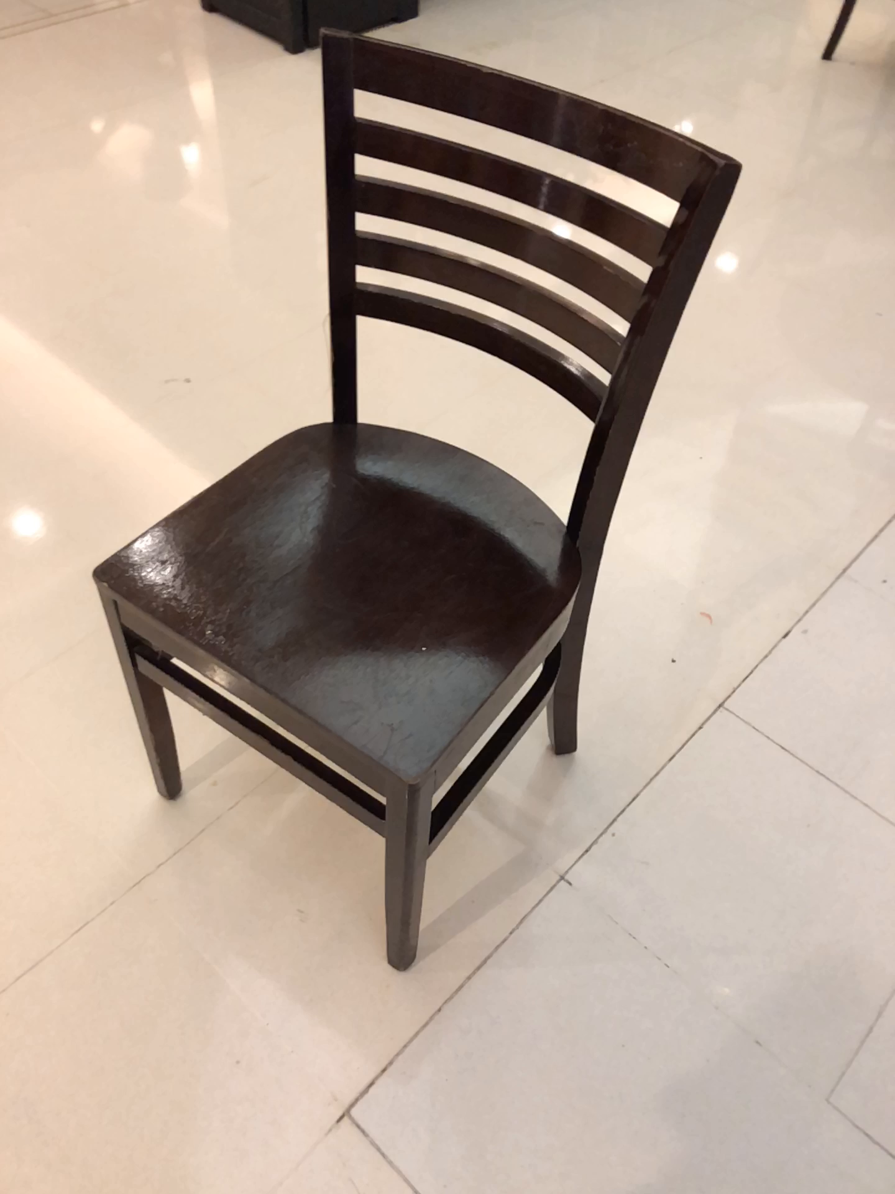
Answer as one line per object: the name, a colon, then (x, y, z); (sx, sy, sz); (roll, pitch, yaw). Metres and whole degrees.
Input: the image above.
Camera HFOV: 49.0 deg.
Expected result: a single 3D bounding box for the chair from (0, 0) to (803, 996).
chair: (-0.061, -0.074, 1.086); (0.461, 0.844, 0.543); (30, 53, 22)
